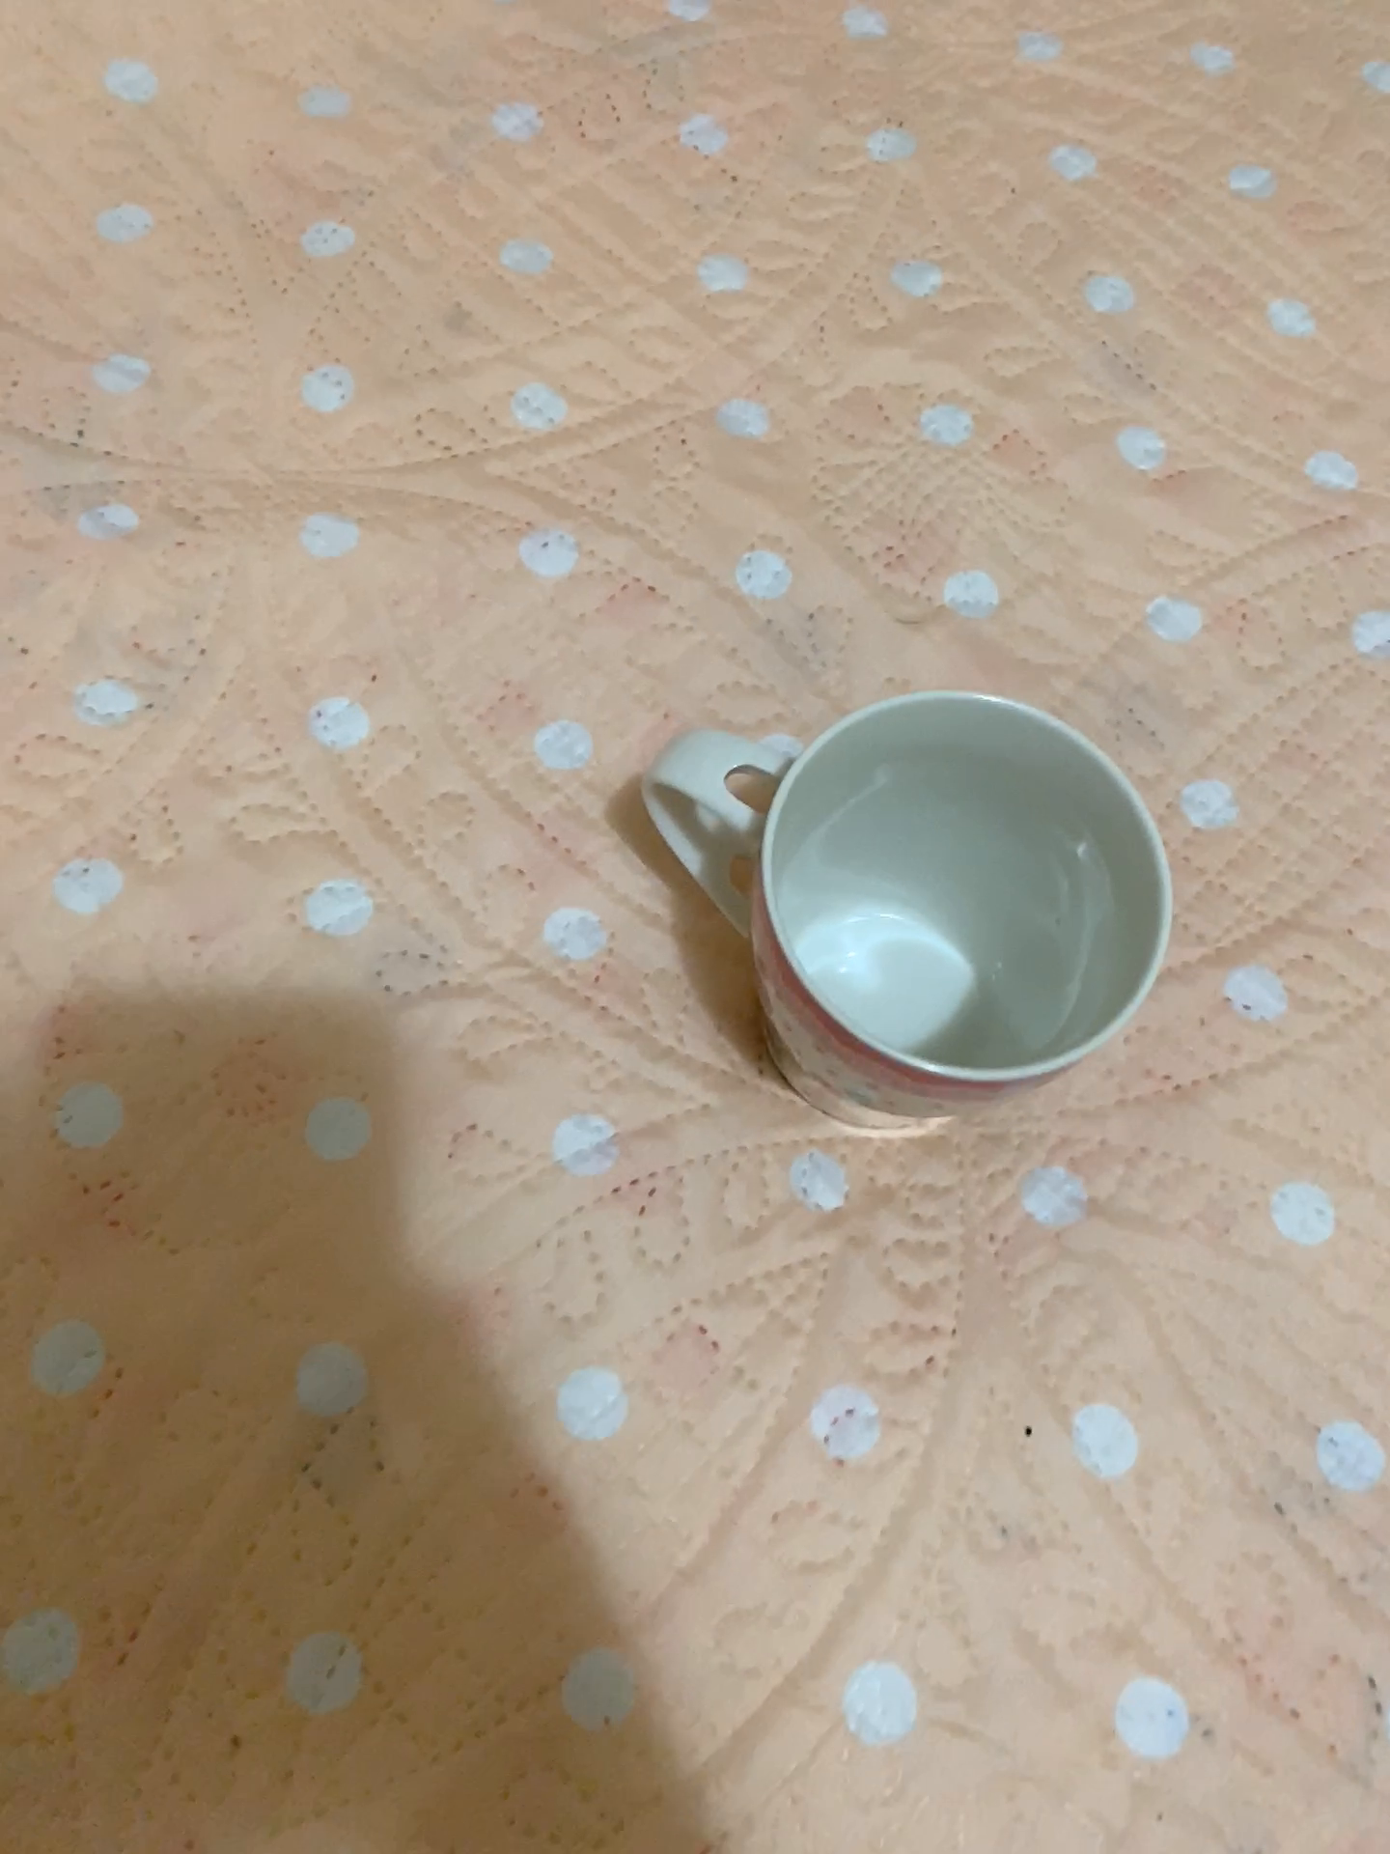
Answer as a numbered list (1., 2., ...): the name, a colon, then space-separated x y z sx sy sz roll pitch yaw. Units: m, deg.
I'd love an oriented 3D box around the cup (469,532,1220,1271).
1. cup: 0.028 0.000 0.328 0.120 0.100 0.090 32 70 8
